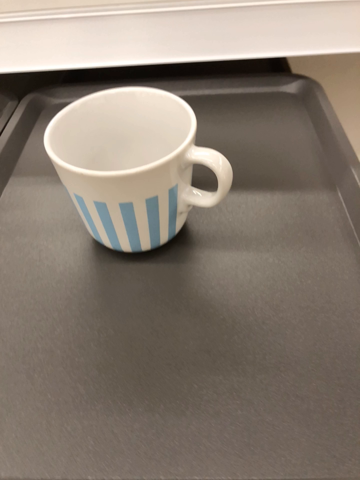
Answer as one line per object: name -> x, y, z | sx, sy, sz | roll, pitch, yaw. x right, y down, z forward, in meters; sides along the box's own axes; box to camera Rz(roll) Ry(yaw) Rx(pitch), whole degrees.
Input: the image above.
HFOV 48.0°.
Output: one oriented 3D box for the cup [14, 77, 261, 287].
cup -> -0.018, -0.041, 0.251 | 0.110, 0.070, 0.090 | 14, 49, 17
